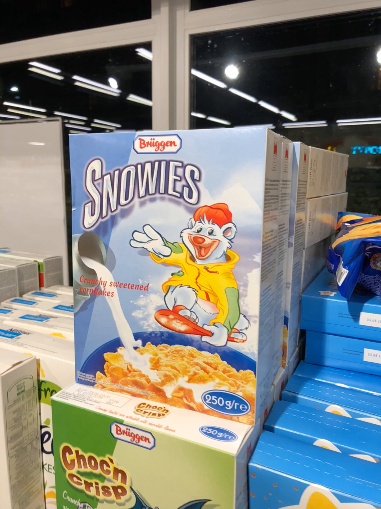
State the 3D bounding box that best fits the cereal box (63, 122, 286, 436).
[{"bbox_3d":[-0.019,0.014,0.414,0.200,0.259,0.070,5,9,23],"label":"cereal box"}]
